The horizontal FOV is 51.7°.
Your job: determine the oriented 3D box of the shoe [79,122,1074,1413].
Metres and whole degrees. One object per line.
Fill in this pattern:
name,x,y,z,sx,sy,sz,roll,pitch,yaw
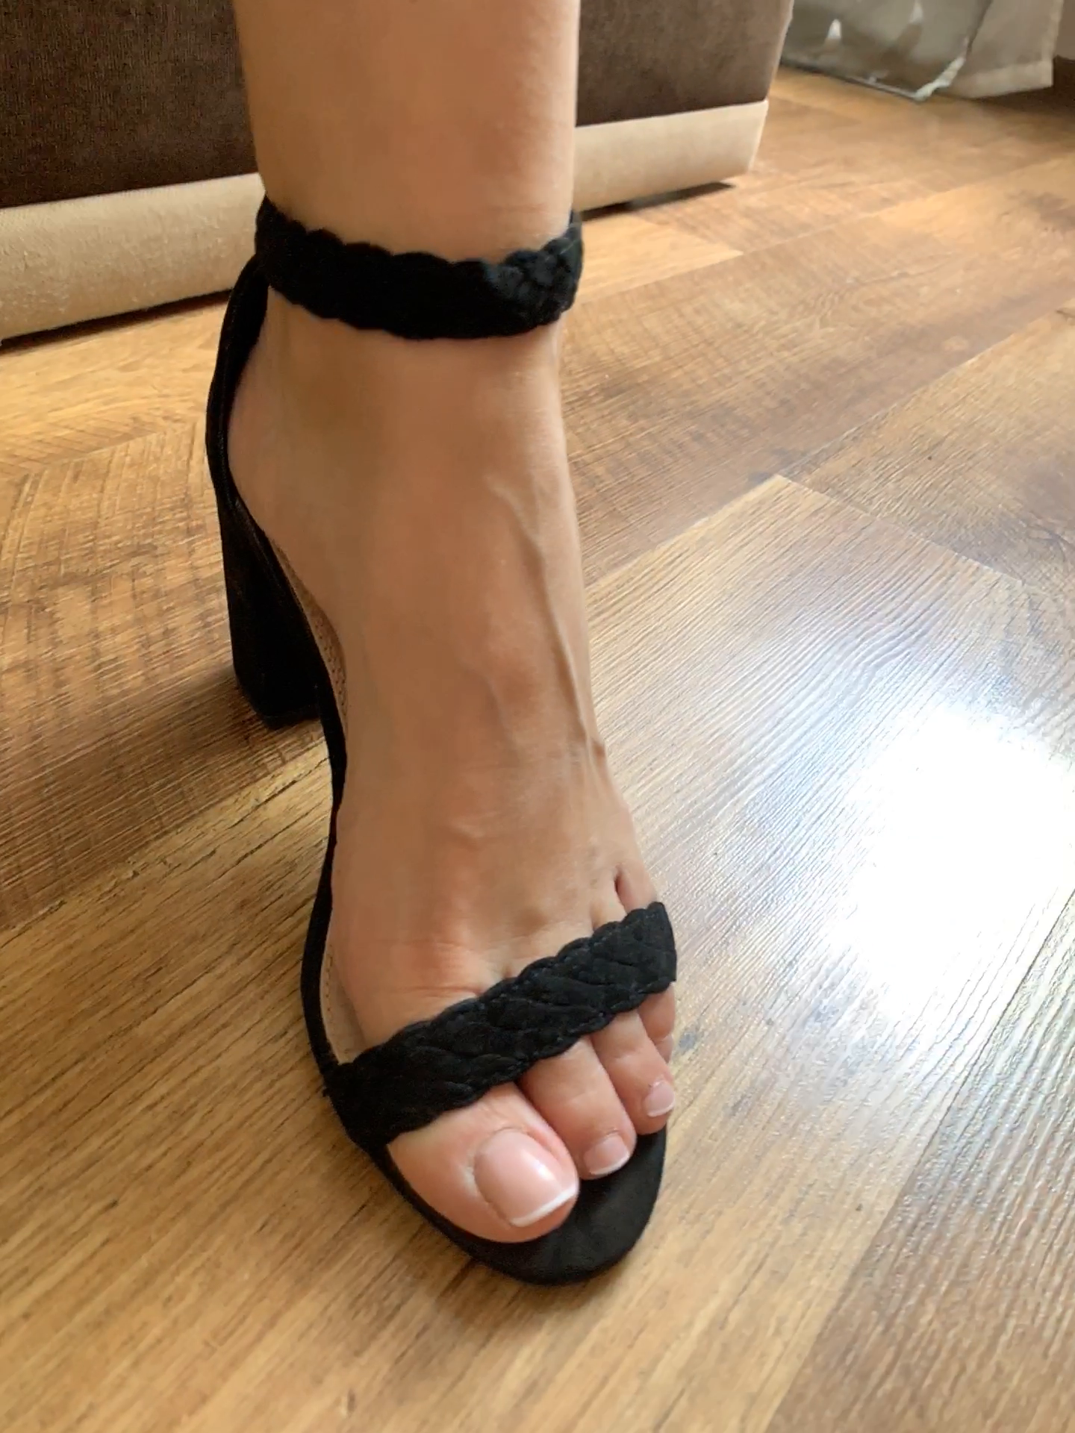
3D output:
shoe,-0.025,-0.016,0.241,0.090,0.149,0.231,-11,43,-24
